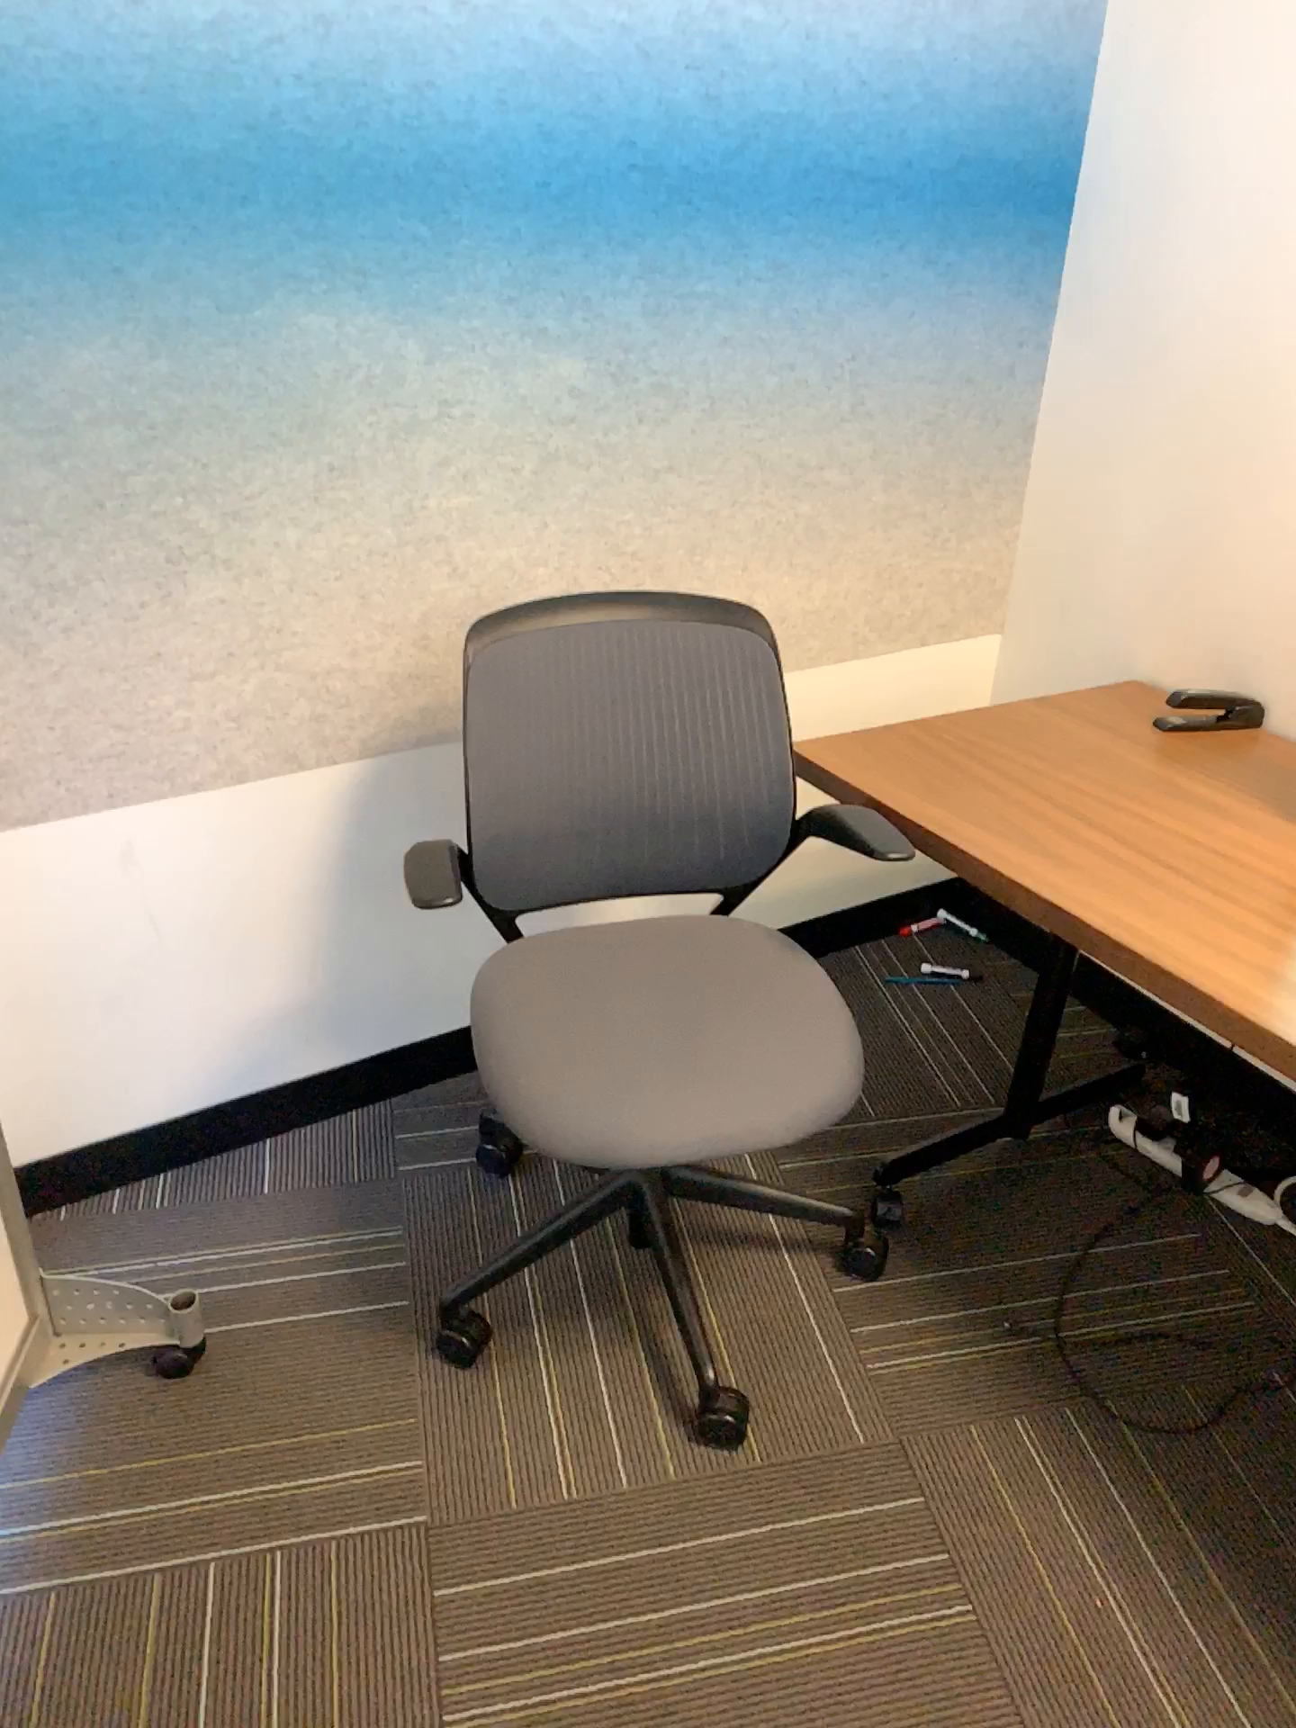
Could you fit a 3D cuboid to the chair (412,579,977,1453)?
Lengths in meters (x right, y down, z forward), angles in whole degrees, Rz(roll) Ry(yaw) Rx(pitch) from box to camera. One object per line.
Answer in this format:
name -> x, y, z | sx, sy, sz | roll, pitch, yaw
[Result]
chair -> -0.001, 0.170, 1.701 | 0.540, 0.935, 0.533 | -3, 26, -10
